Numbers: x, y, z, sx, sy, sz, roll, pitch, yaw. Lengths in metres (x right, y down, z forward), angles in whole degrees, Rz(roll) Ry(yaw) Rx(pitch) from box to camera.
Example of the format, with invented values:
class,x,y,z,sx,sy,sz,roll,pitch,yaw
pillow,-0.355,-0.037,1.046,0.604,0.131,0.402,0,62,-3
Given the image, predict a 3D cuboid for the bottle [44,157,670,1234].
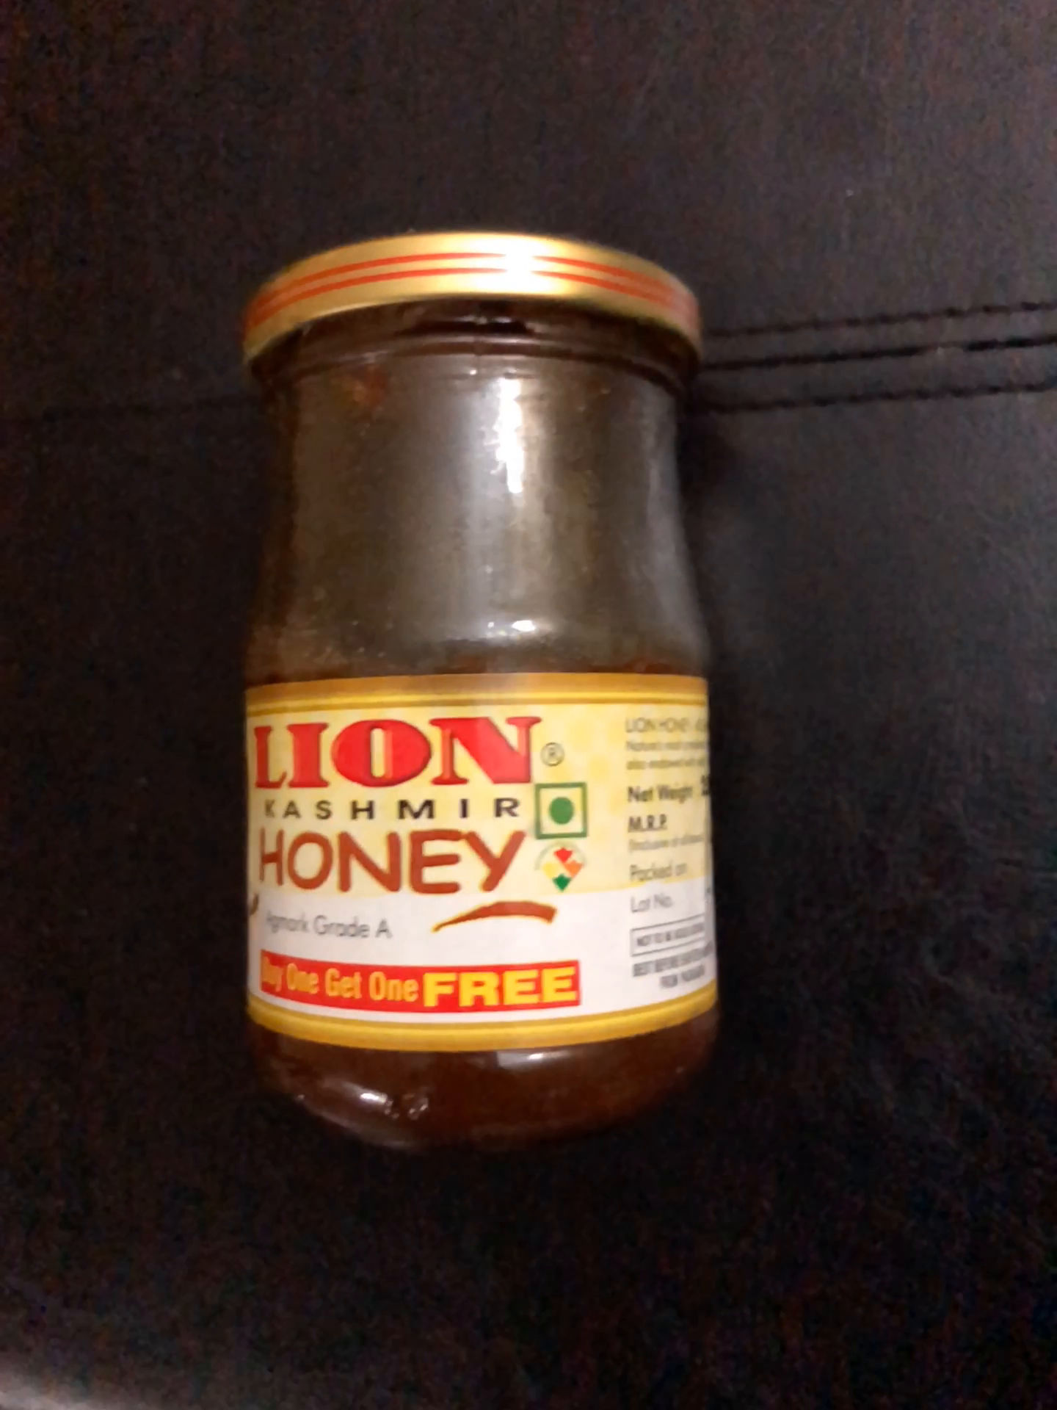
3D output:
class,x,y,z,sx,sy,sz,roll,pitch,yaw
bottle,-0.017,-0.001,0.159,0.060,0.059,0.108,-1,91,17
